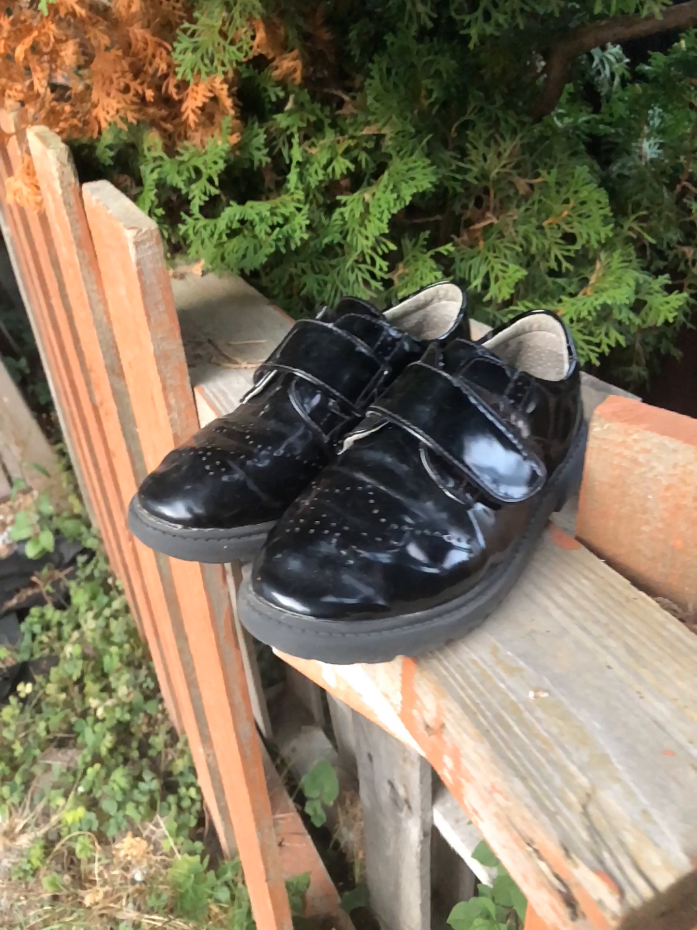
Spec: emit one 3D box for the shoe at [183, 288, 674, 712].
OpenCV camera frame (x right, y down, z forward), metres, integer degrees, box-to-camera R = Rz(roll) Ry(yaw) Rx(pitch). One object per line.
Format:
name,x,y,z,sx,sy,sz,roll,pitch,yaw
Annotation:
shoe,0.050,-0.007,0.344,0.090,0.070,0.231,23,38,34

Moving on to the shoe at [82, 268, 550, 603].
shoe,-0.002,-0.034,0.405,0.090,0.070,0.241,26,40,37
